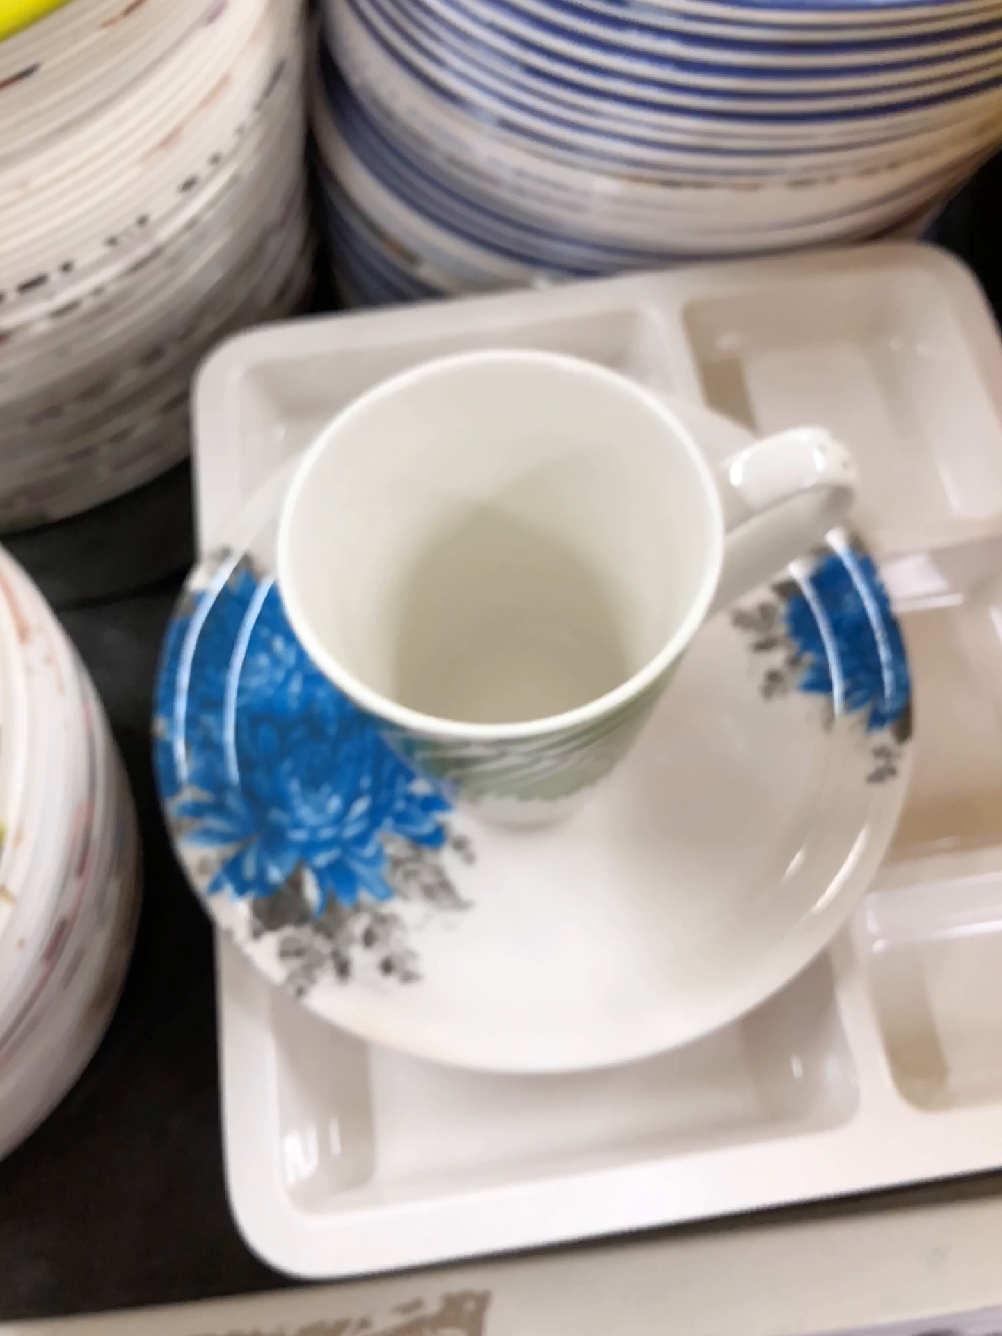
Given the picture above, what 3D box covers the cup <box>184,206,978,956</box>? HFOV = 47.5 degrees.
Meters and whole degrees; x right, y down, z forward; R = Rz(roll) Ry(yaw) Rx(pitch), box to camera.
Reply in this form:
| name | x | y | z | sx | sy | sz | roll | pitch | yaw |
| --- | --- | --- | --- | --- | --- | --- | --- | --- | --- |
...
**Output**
| name | x | y | z | sx | sy | sz | roll | pitch | yaw |
| --- | --- | --- | --- | --- | --- | --- | --- | --- | --- |
| cup | 0.016 | -0.014 | 0.247 | 0.120 | 0.090 | 0.080 | -35 | 70 | -13 |
